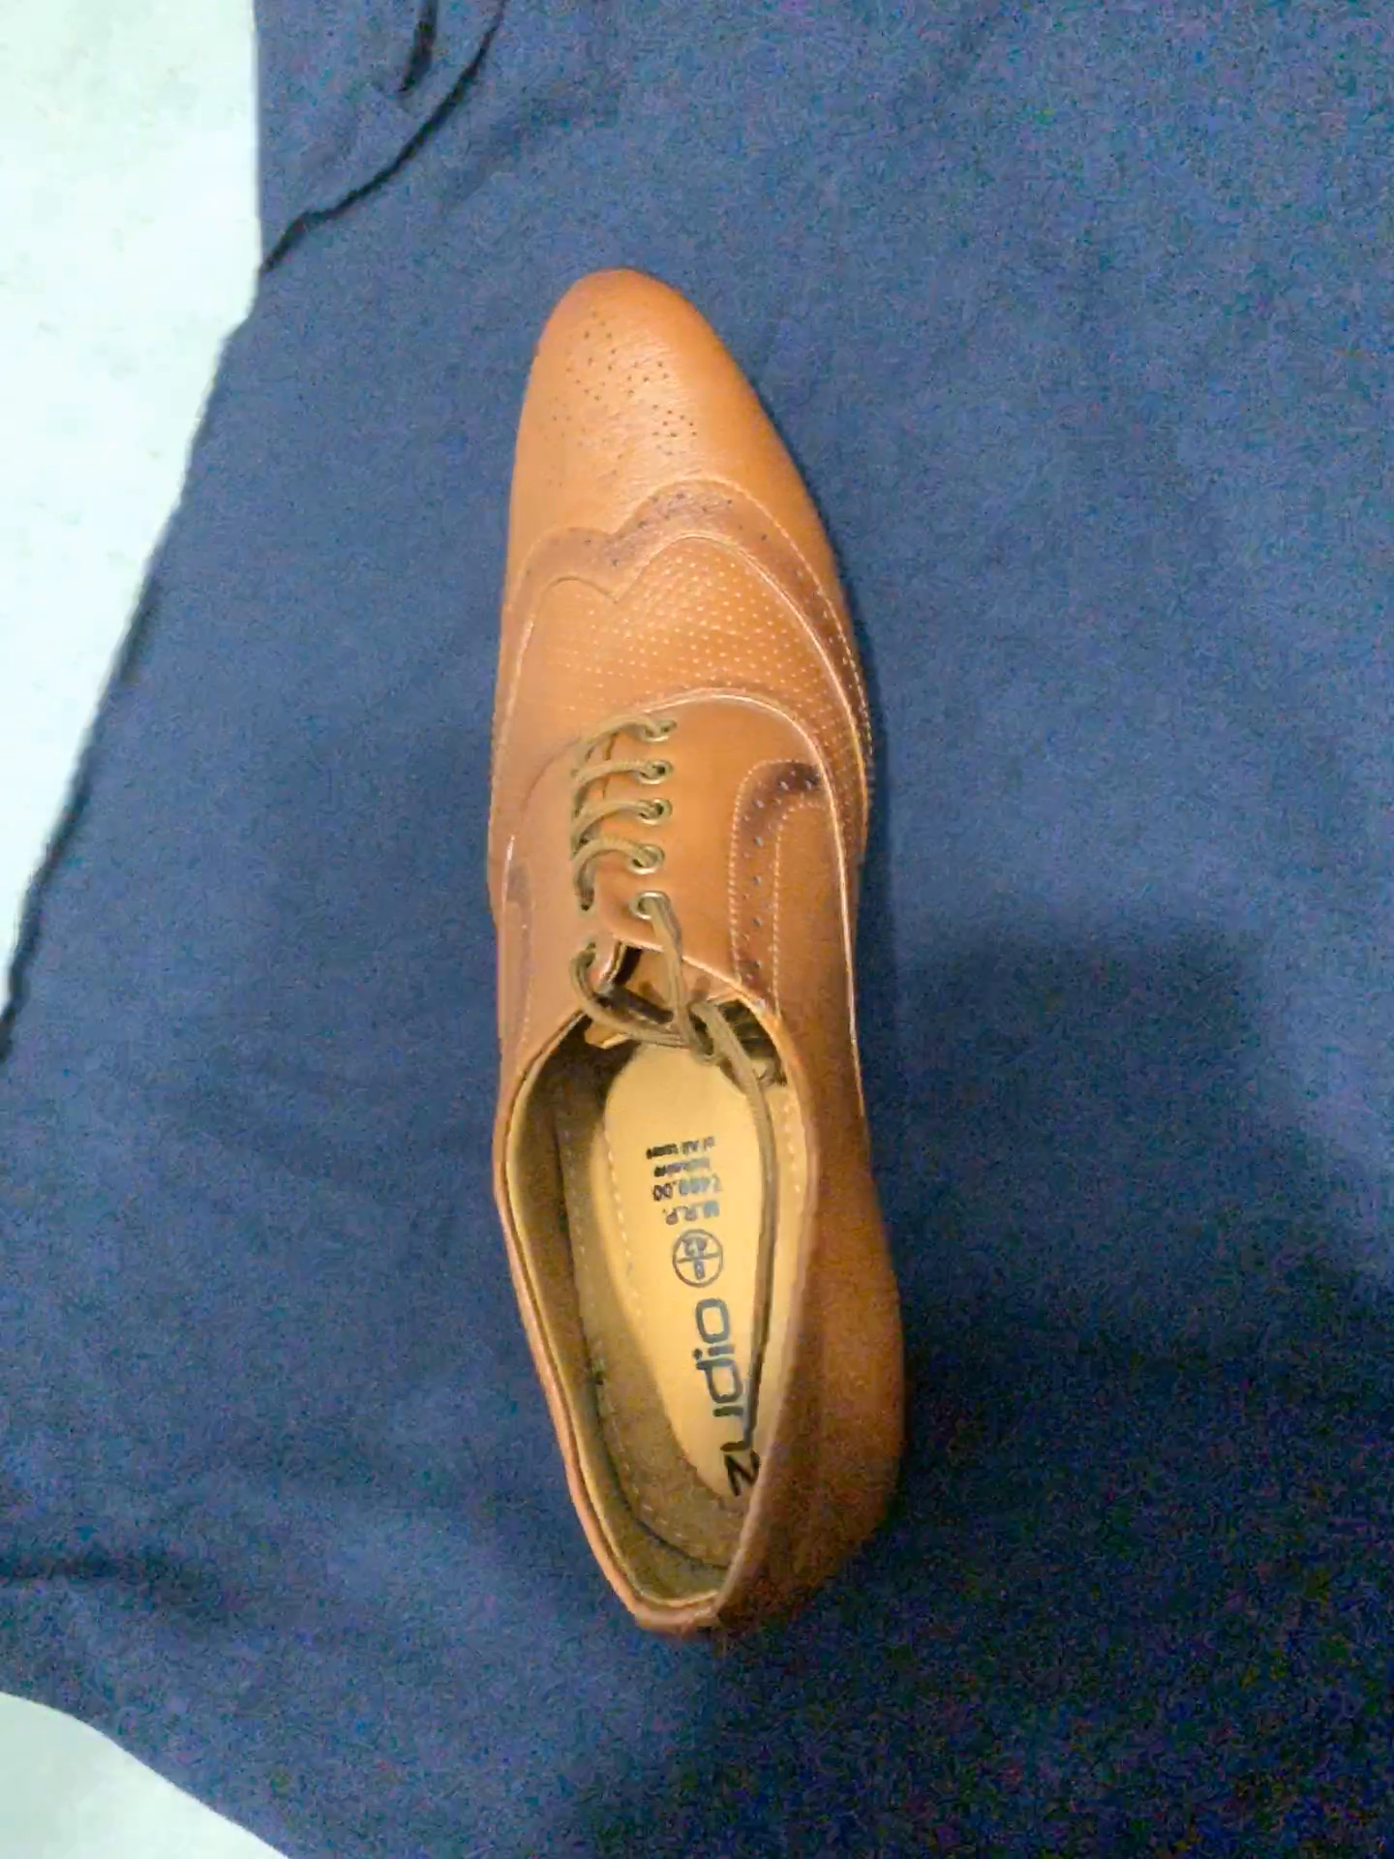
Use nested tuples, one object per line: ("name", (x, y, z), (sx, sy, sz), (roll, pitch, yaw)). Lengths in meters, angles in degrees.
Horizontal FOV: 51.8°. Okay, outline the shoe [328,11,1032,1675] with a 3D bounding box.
("shoe", (-0.005, -0.018, 0.326), (0.100, 0.090, 0.320), (-10, 80, 20))
